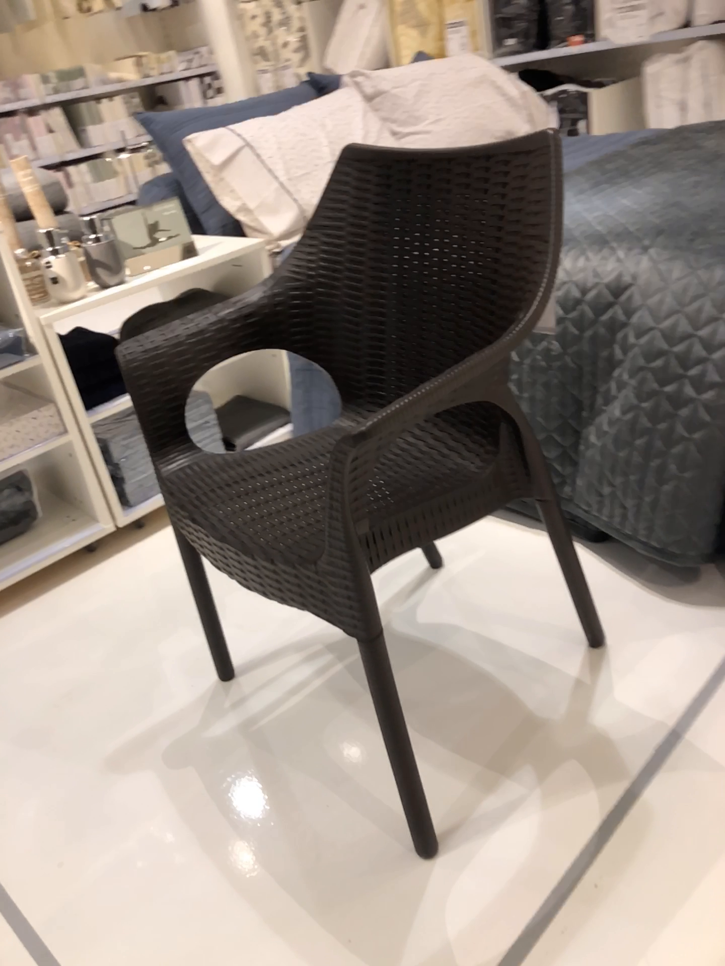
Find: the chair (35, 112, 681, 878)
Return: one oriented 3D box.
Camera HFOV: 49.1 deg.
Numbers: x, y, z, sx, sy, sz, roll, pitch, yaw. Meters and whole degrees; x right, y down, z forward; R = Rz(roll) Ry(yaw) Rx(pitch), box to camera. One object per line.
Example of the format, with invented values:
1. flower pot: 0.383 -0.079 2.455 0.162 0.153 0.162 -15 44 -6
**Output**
1. chair: 0.033 -0.049 1.158 0.571 0.764 0.593 -29 32 -30
